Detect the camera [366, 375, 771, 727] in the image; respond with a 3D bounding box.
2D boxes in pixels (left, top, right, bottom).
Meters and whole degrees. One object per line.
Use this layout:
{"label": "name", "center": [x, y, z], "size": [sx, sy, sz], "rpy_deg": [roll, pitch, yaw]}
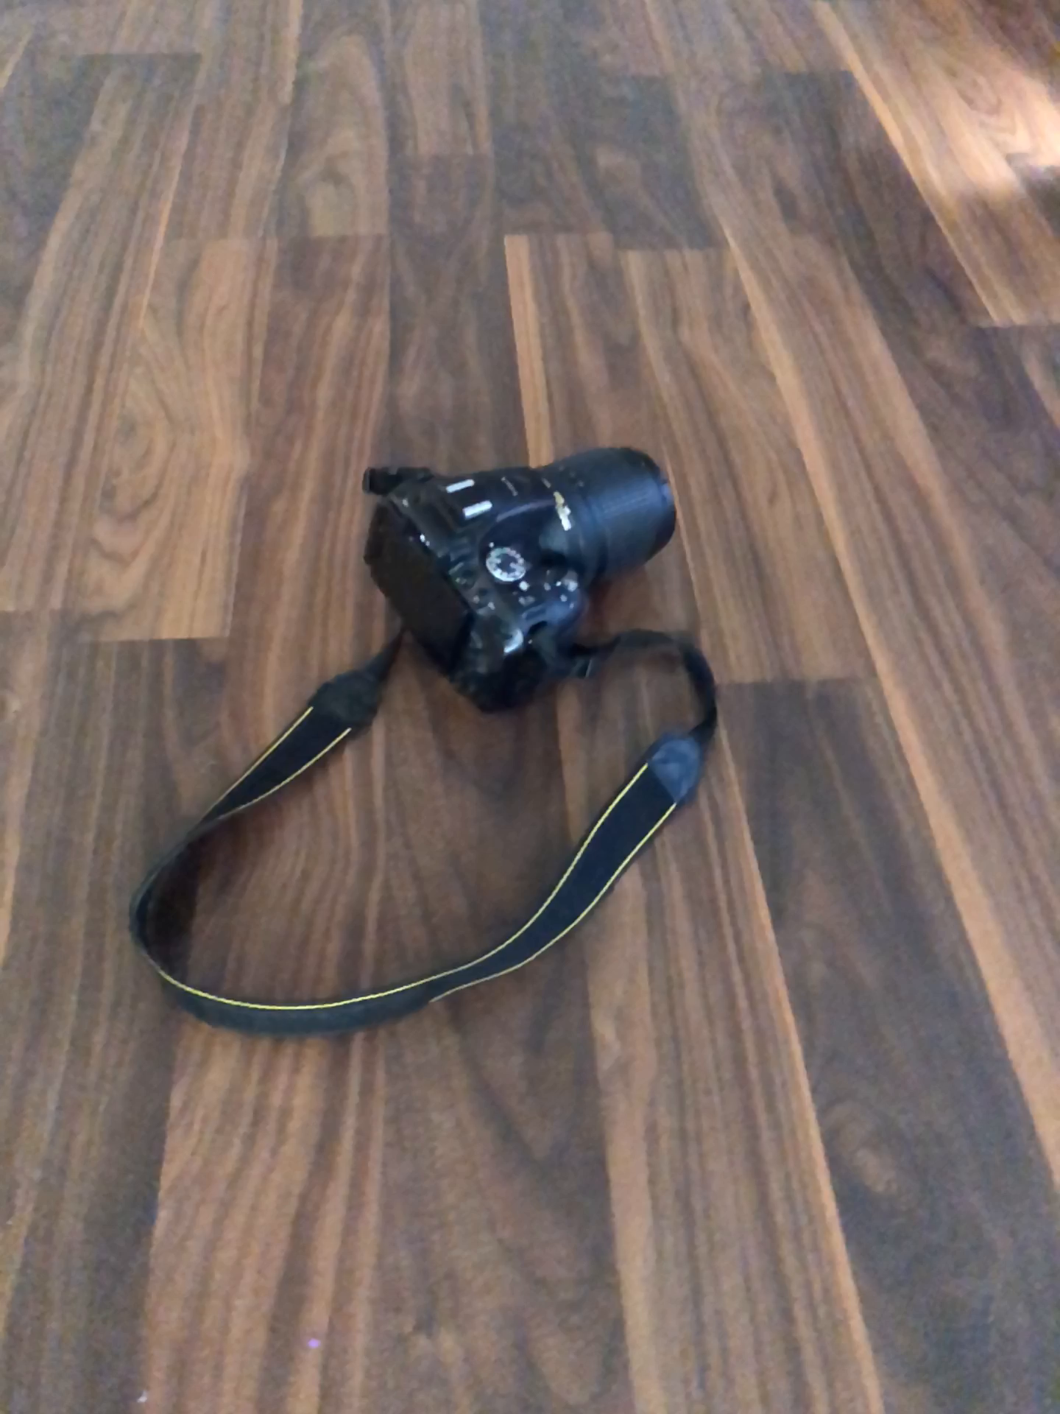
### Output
{"label": "camera", "center": [0.019, -0.086, 0.600], "size": [0.160, 0.070, 0.120], "rpy_deg": [-30, 56, -24]}
